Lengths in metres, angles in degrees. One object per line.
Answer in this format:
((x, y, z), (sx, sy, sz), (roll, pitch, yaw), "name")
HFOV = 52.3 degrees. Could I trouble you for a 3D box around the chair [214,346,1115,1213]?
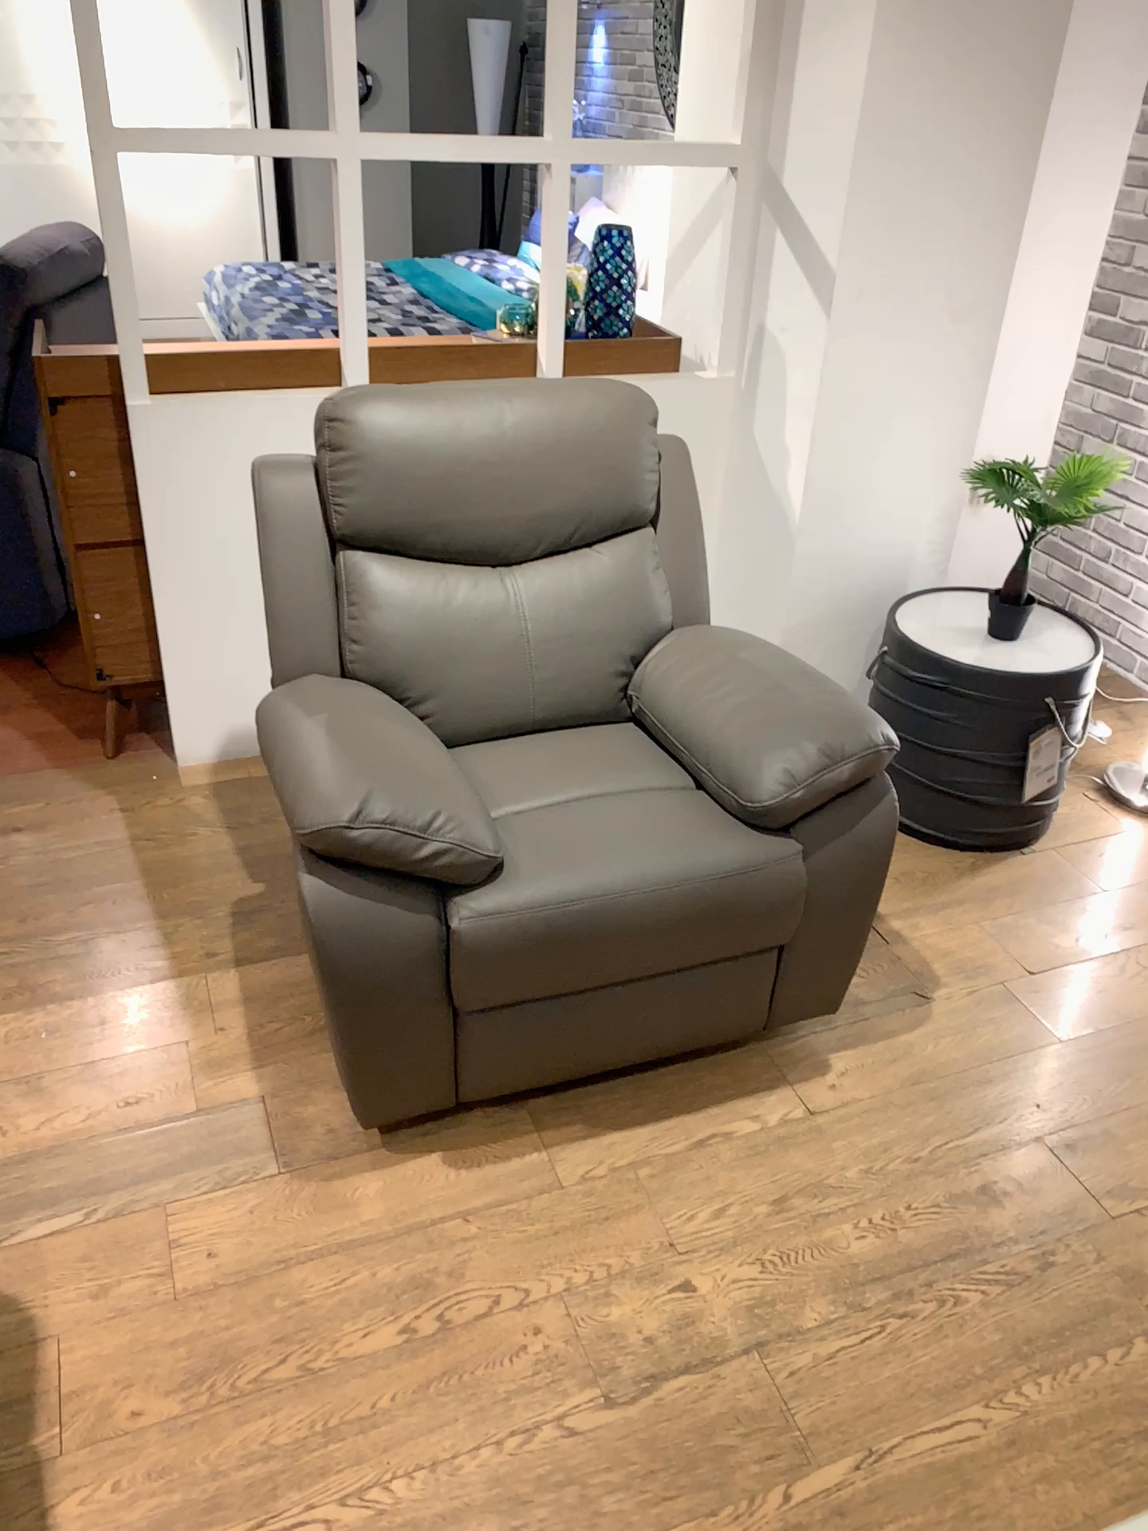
((0.025, -0.086, 1.919), (1.001, 0.936, 0.944), (-8, 33, -18), "chair")
